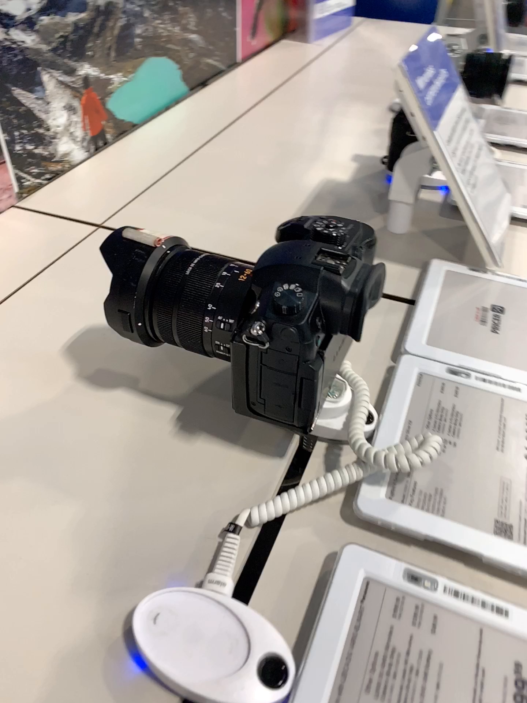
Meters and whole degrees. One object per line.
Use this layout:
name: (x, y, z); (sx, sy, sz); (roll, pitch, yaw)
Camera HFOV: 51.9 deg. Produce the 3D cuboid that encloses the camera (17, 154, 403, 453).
camera: (-0.025, -0.044, 0.371); (0.200, 0.099, 0.141); (15, 44, 14)
